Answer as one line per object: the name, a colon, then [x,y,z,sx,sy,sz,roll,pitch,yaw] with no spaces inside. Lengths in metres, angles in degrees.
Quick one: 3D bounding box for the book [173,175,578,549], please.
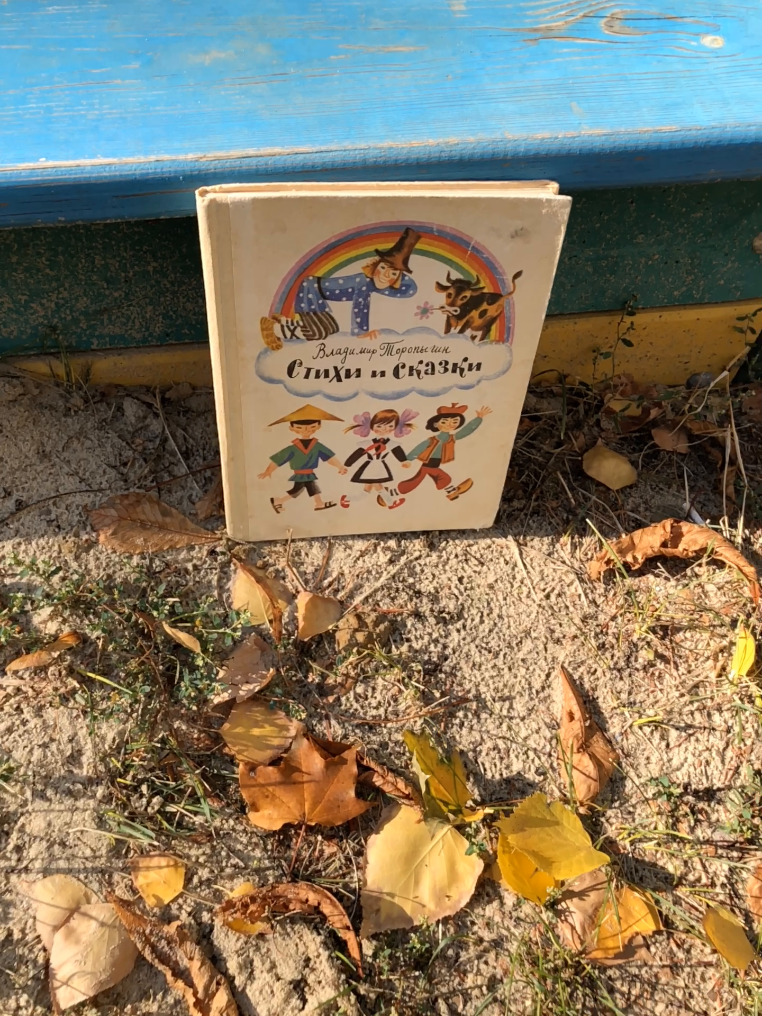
book: [-0.006,-0.066,0.448,0.178,0.213,0.024,-3,43,-6]
